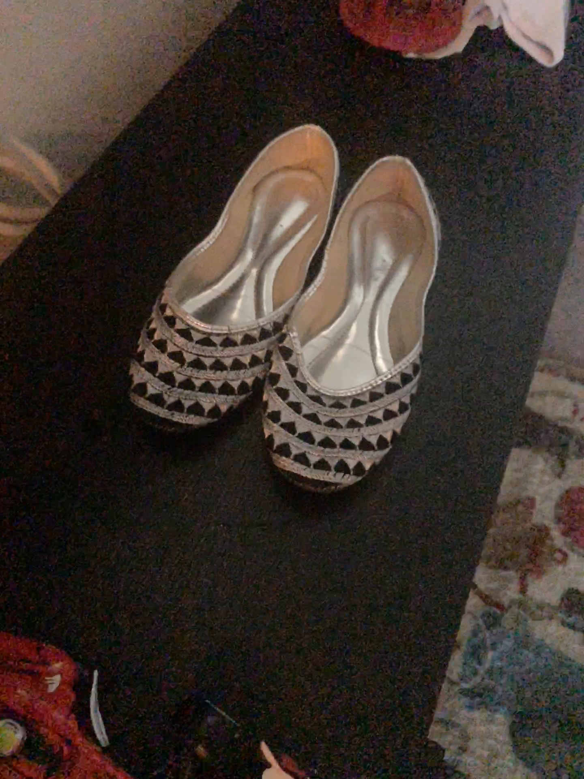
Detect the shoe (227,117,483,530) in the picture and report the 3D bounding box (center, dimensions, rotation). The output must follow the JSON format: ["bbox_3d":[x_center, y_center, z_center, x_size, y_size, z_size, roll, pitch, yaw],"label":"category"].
[{"bbox_3d":[0.049,-0.055,0.403,0.100,0.080,0.262,15,61,6],"label":"shoe"}]

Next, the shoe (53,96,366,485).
[{"bbox_3d":[-0.041,-0.083,0.434,0.100,0.080,0.272,19,62,8],"label":"shoe"}]
